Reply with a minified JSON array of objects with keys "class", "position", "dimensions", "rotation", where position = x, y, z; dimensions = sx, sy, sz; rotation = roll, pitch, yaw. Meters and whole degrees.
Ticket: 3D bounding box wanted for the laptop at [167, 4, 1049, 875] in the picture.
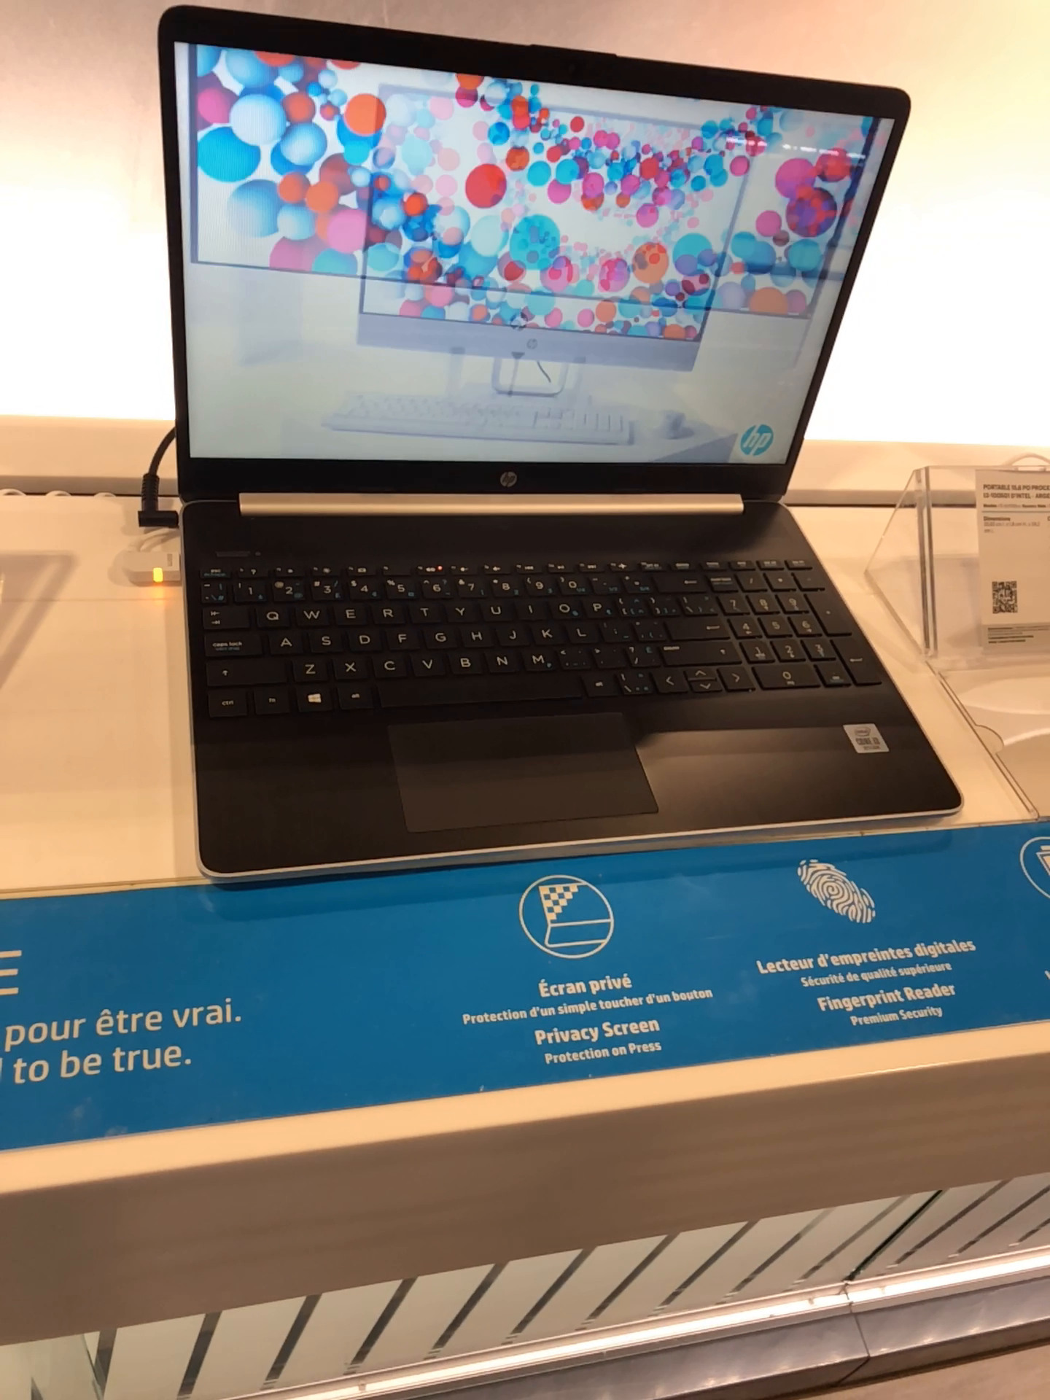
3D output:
[{"class":"laptop","position":[0.030,-0.120,0.523],"dimensions":[0.355,0.221,0.284],"rotation":[-2,48,-16]}]
